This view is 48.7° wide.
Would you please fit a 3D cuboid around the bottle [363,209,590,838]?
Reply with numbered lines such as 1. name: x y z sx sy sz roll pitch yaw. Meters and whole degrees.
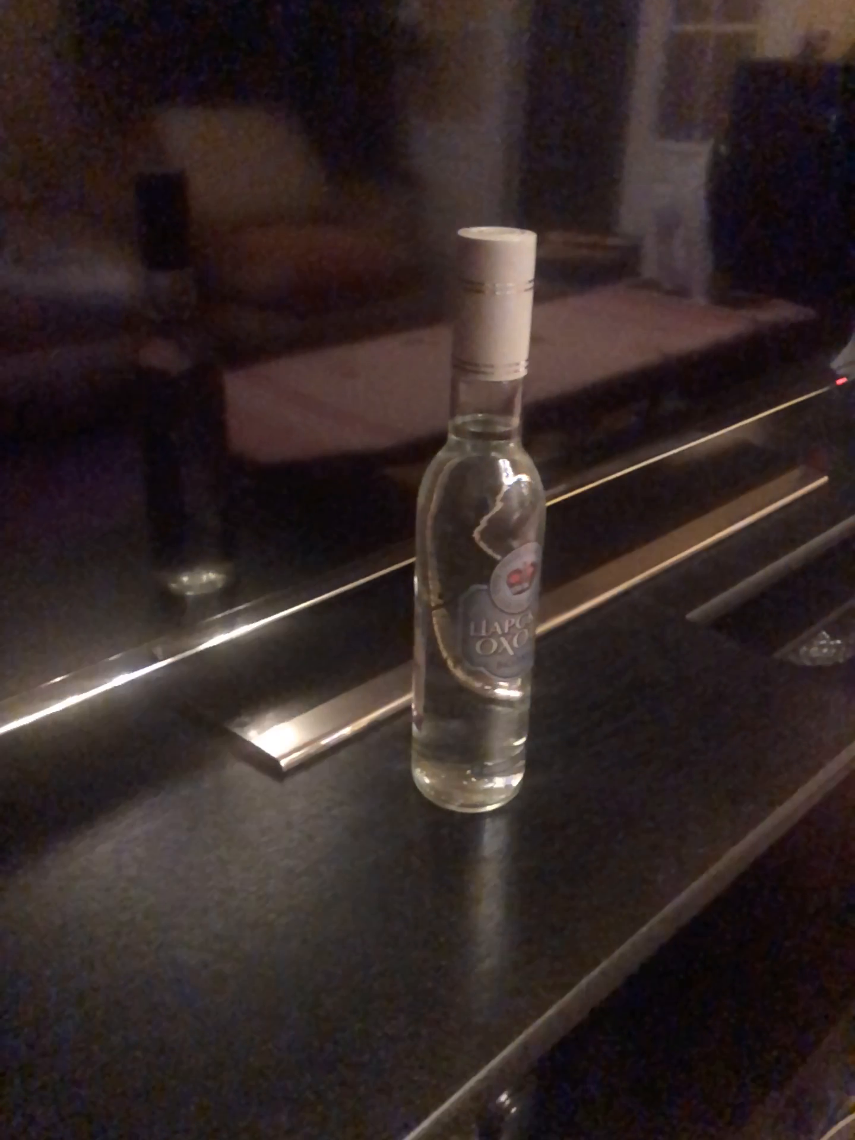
1. bottle: 0.018 -0.013 0.455 0.064 0.290 0.067 0 28 0
